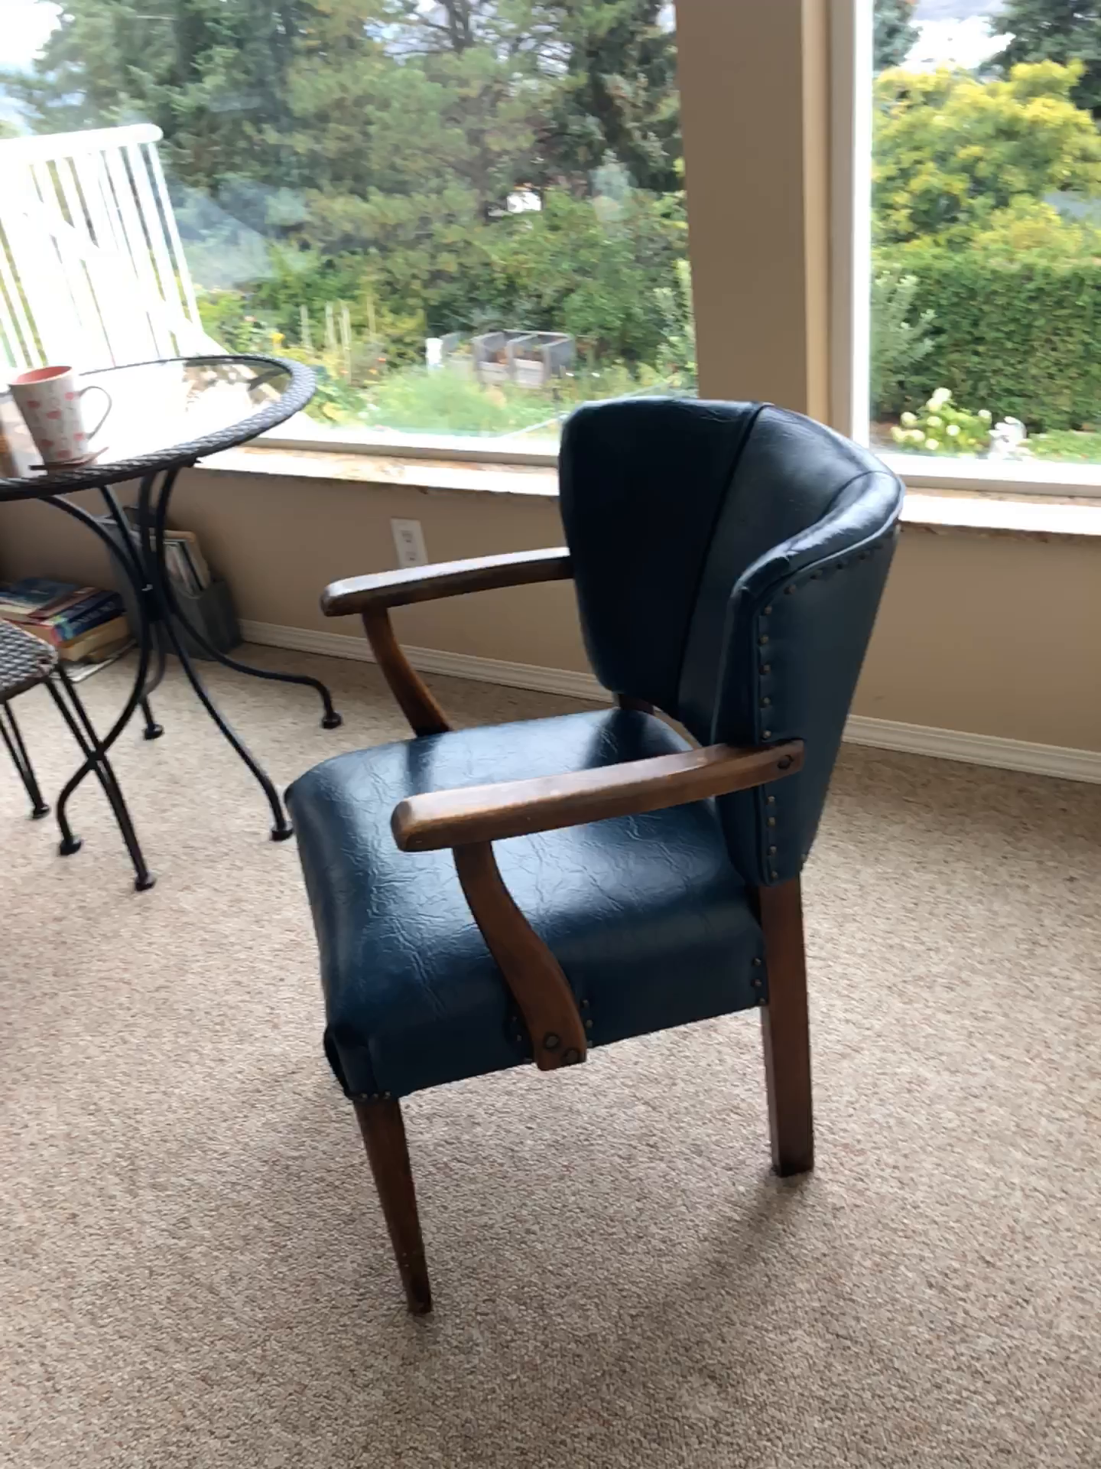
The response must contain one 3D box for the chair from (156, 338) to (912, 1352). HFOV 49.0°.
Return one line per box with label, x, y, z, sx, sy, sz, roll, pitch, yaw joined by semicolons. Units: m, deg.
chair;-0.017;0.088;1.283;0.560;0.797;0.532;-14;31;-10
